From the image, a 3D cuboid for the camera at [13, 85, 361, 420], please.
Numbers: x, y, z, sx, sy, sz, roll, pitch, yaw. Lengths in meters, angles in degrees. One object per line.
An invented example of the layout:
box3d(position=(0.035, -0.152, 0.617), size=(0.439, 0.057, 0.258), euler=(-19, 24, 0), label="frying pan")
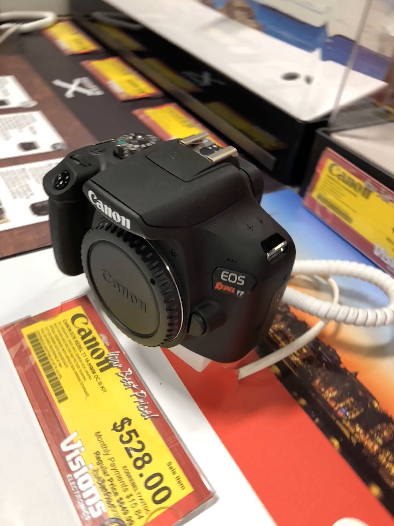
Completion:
box3d(position=(-0.011, -0.016, 0.223), size=(0.130, 0.089, 0.090), euler=(36, 47, 28), label="camera")
